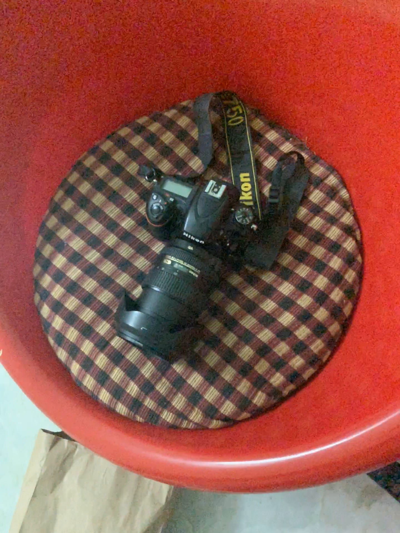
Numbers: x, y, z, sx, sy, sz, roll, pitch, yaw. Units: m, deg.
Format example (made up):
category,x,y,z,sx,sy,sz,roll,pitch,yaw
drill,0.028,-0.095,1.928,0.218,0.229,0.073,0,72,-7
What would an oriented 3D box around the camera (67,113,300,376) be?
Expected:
category,x,y,z,sx,sy,sz,roll,pitch,yaw
camera,-0.008,-0.017,0.535,0.160,0.180,0.252,25,83,11
